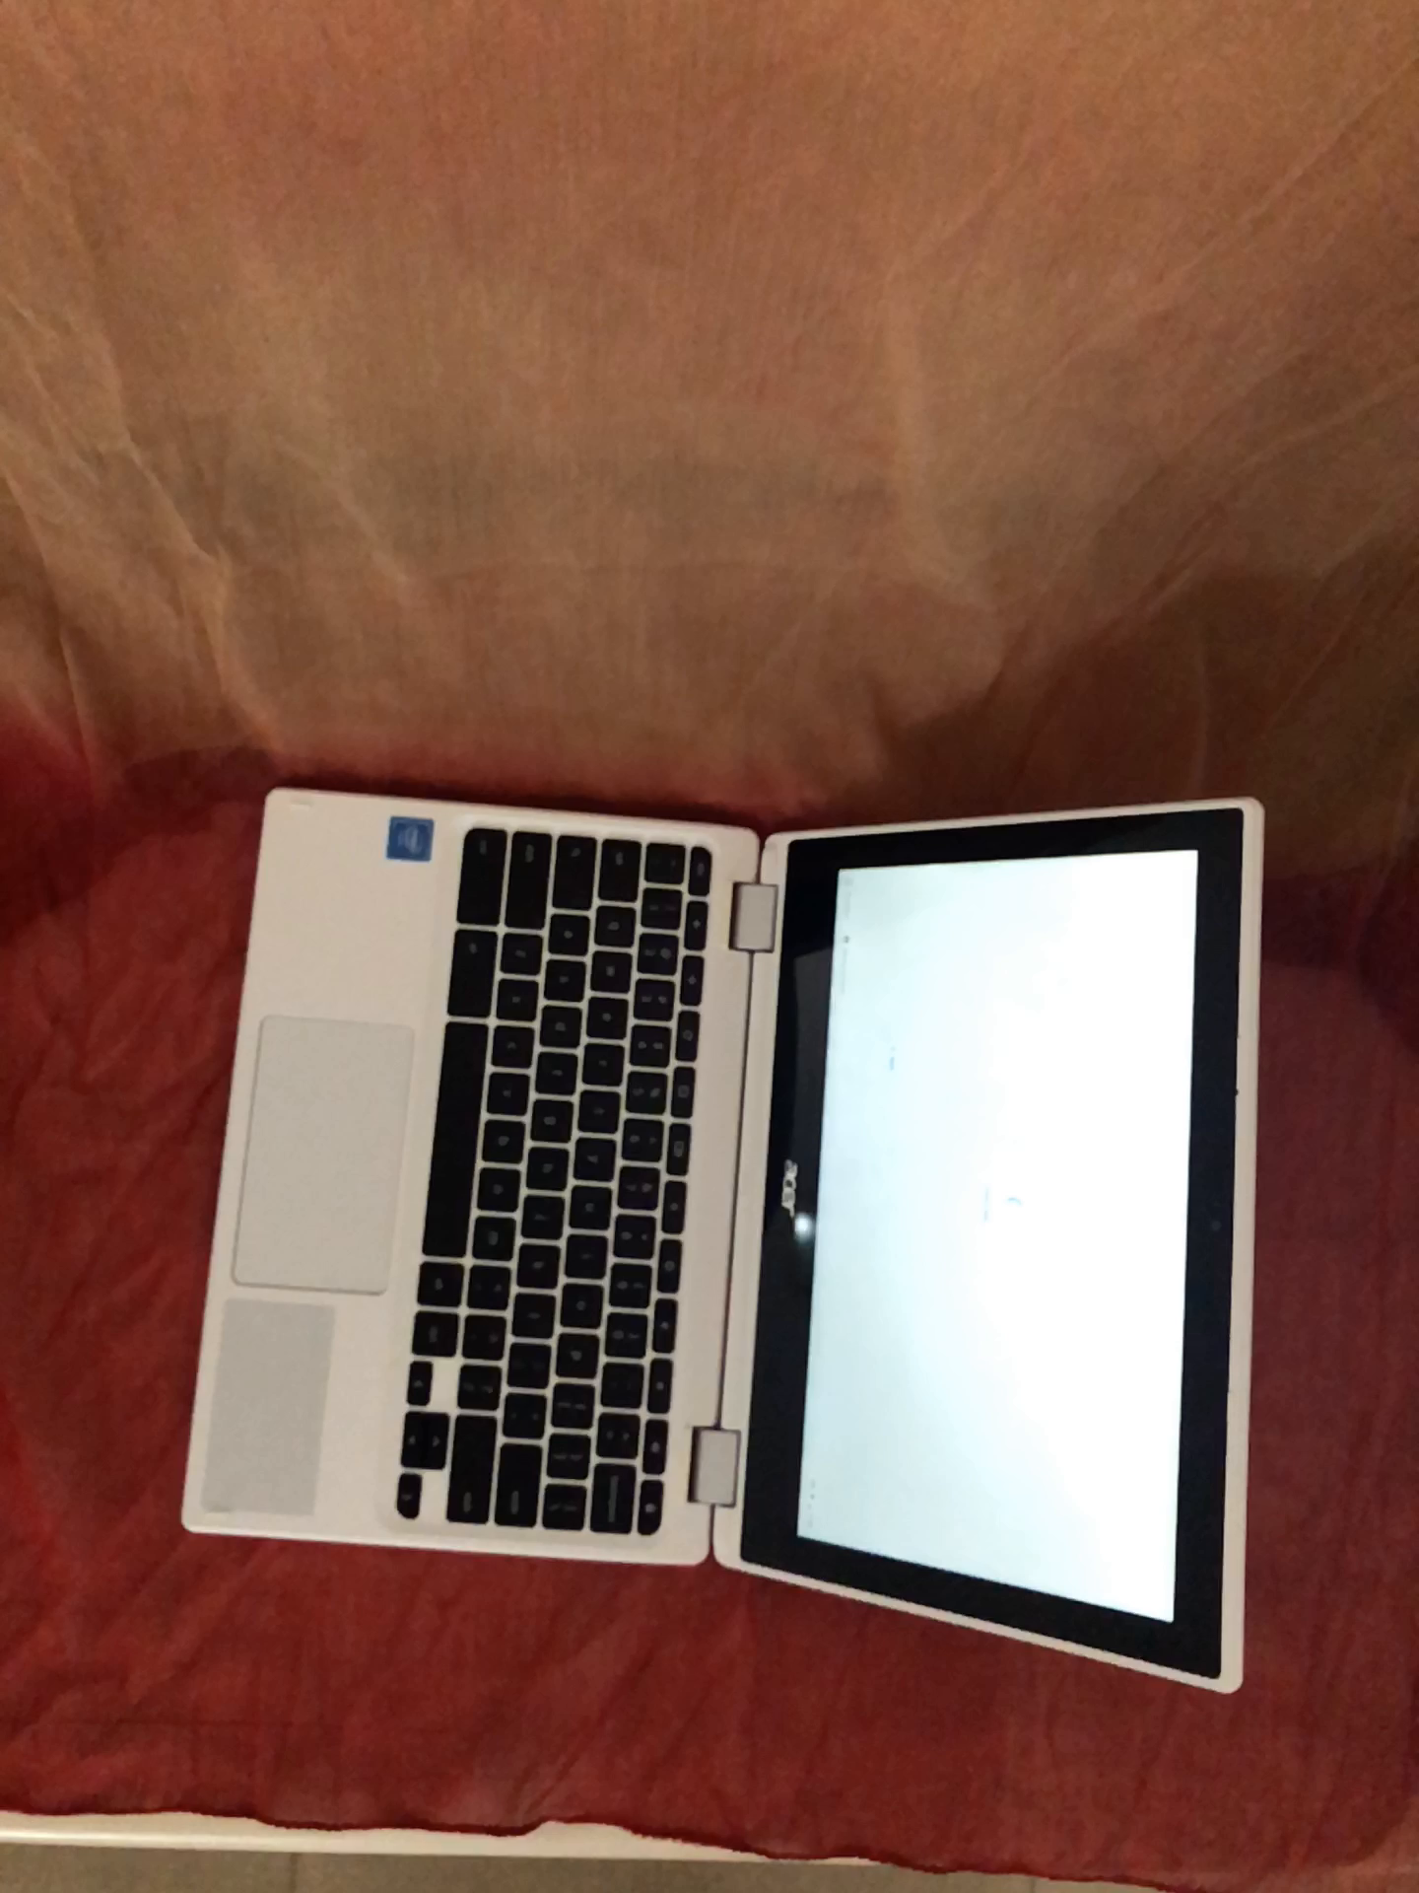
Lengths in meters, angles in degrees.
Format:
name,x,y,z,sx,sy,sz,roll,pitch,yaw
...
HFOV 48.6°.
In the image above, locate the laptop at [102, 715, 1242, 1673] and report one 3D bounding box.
name,x,y,z,sx,sy,sz,roll,pitch,yaw
laptop,-0.006,0.081,0.545,0.337,0.113,0.263,5,81,-2
